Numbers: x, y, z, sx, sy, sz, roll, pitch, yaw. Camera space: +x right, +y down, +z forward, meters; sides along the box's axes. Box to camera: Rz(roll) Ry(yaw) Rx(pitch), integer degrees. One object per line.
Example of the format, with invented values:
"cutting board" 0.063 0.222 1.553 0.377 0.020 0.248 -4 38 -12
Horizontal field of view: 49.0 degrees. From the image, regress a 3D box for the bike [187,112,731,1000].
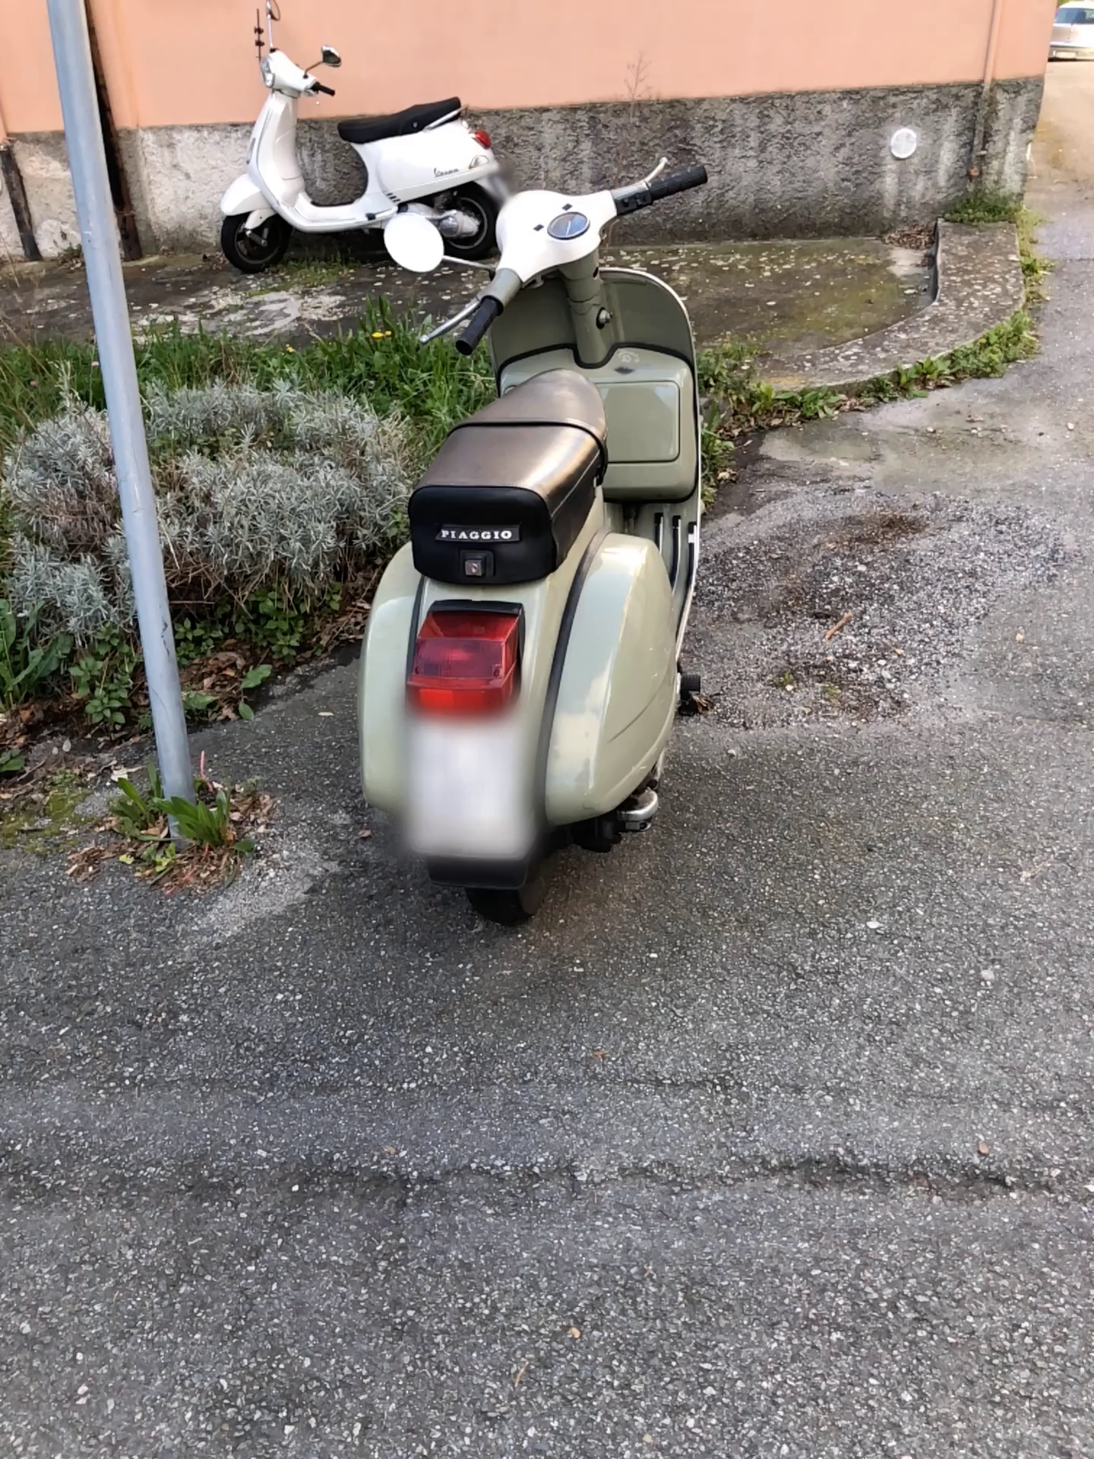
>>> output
"bike" -0.007 -0.453 2.211 0.621 1.027 1.449 3 33 7
